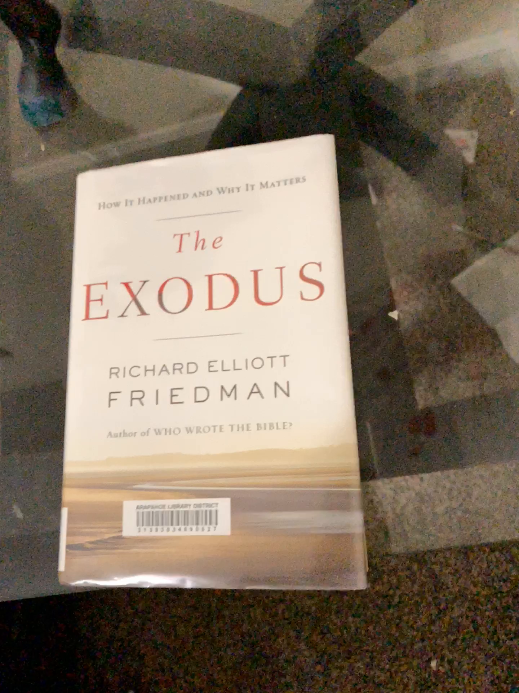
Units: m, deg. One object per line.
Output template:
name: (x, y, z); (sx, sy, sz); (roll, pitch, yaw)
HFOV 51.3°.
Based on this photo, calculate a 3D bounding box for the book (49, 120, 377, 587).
book: (-0.027, 0.001, 0.291); (0.160, 0.030, 0.231); (-3, 79, 10)
